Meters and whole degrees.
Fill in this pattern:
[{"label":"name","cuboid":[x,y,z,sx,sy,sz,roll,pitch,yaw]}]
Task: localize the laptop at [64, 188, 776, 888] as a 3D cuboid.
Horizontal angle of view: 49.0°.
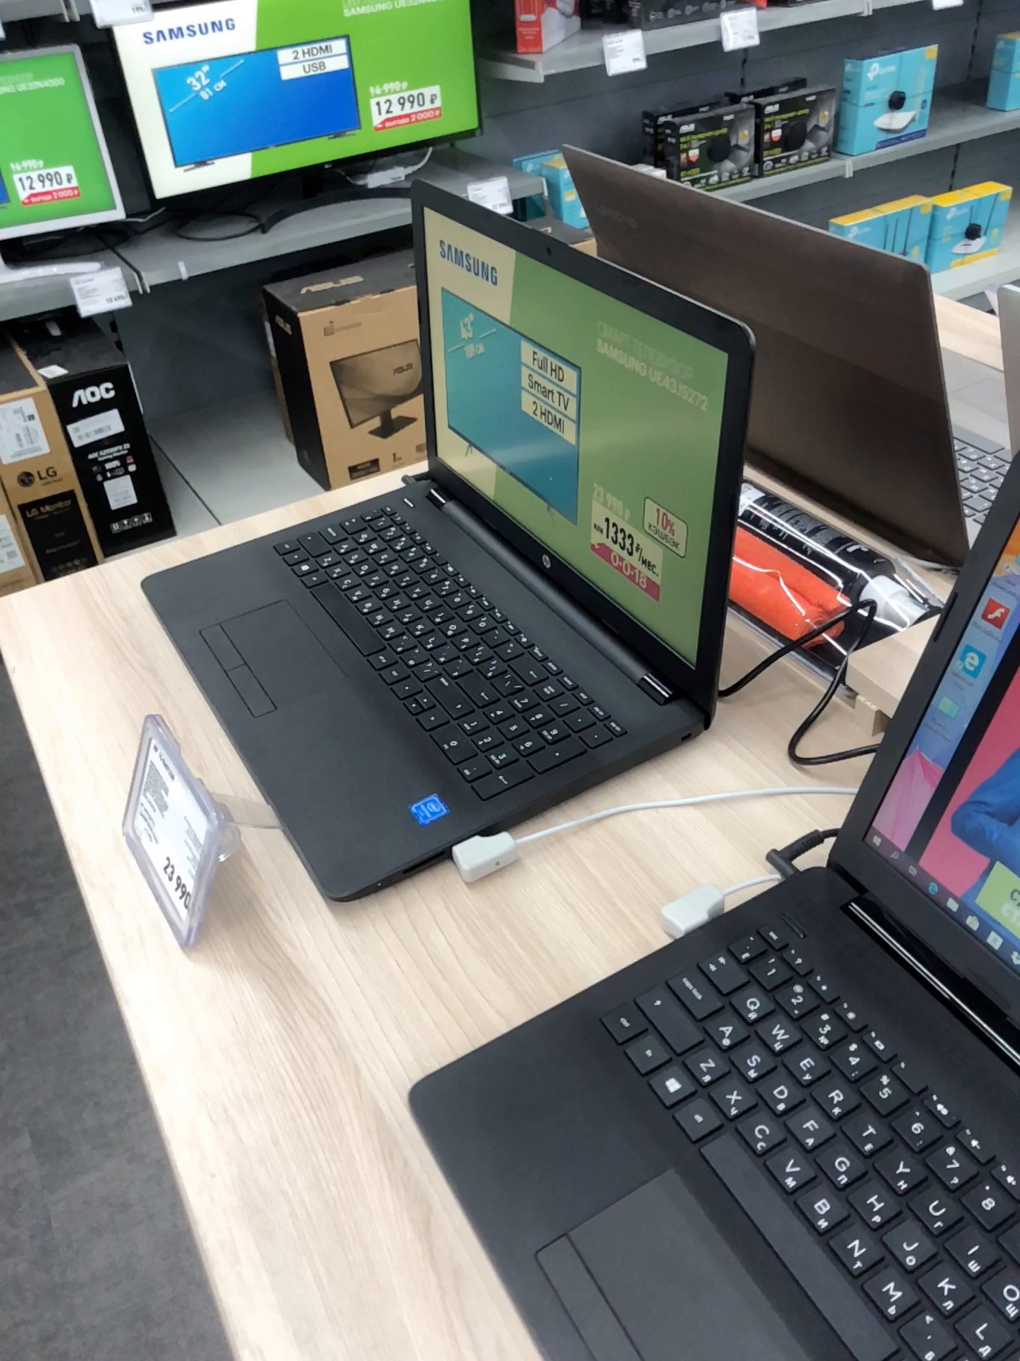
[{"label":"laptop","cuboid":[-0.072,-0.123,0.692,0.273,0.222,0.363,-22,41,-20]}]
